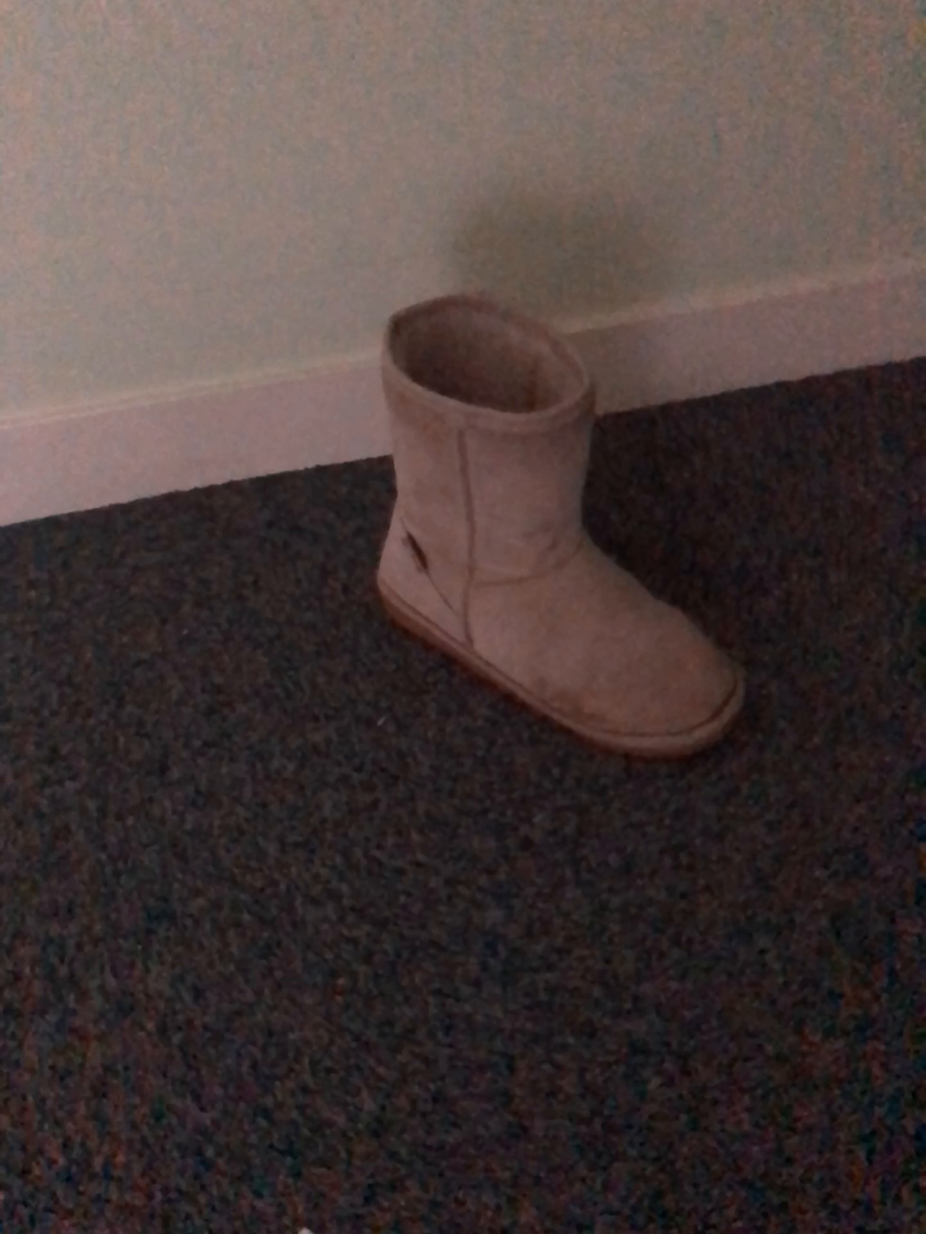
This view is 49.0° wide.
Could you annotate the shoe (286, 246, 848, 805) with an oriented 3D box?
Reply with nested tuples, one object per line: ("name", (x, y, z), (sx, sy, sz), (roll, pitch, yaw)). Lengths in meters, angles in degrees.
("shoe", (0.049, -0.056, 0.606), (0.270, 0.209, 0.121), (31, 57, 25))
